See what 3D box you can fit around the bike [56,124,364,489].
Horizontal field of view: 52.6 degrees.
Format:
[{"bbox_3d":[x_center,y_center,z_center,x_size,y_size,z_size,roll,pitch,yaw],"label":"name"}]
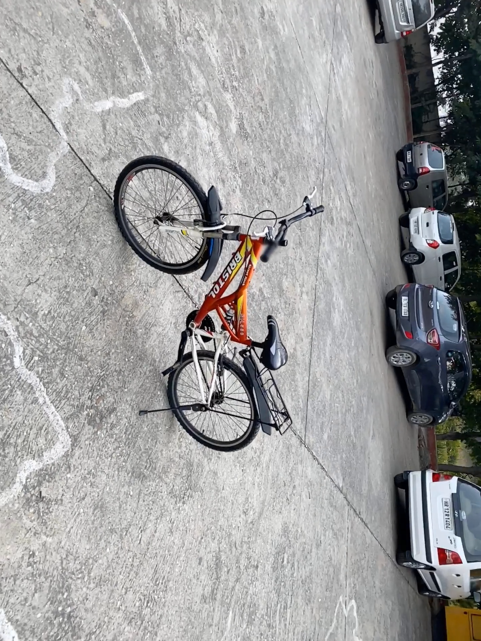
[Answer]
[{"bbox_3d":[-0.075,-0.033,2.370,0.587,0.977,1.513,-43,121,-61],"label":"bike"}]
